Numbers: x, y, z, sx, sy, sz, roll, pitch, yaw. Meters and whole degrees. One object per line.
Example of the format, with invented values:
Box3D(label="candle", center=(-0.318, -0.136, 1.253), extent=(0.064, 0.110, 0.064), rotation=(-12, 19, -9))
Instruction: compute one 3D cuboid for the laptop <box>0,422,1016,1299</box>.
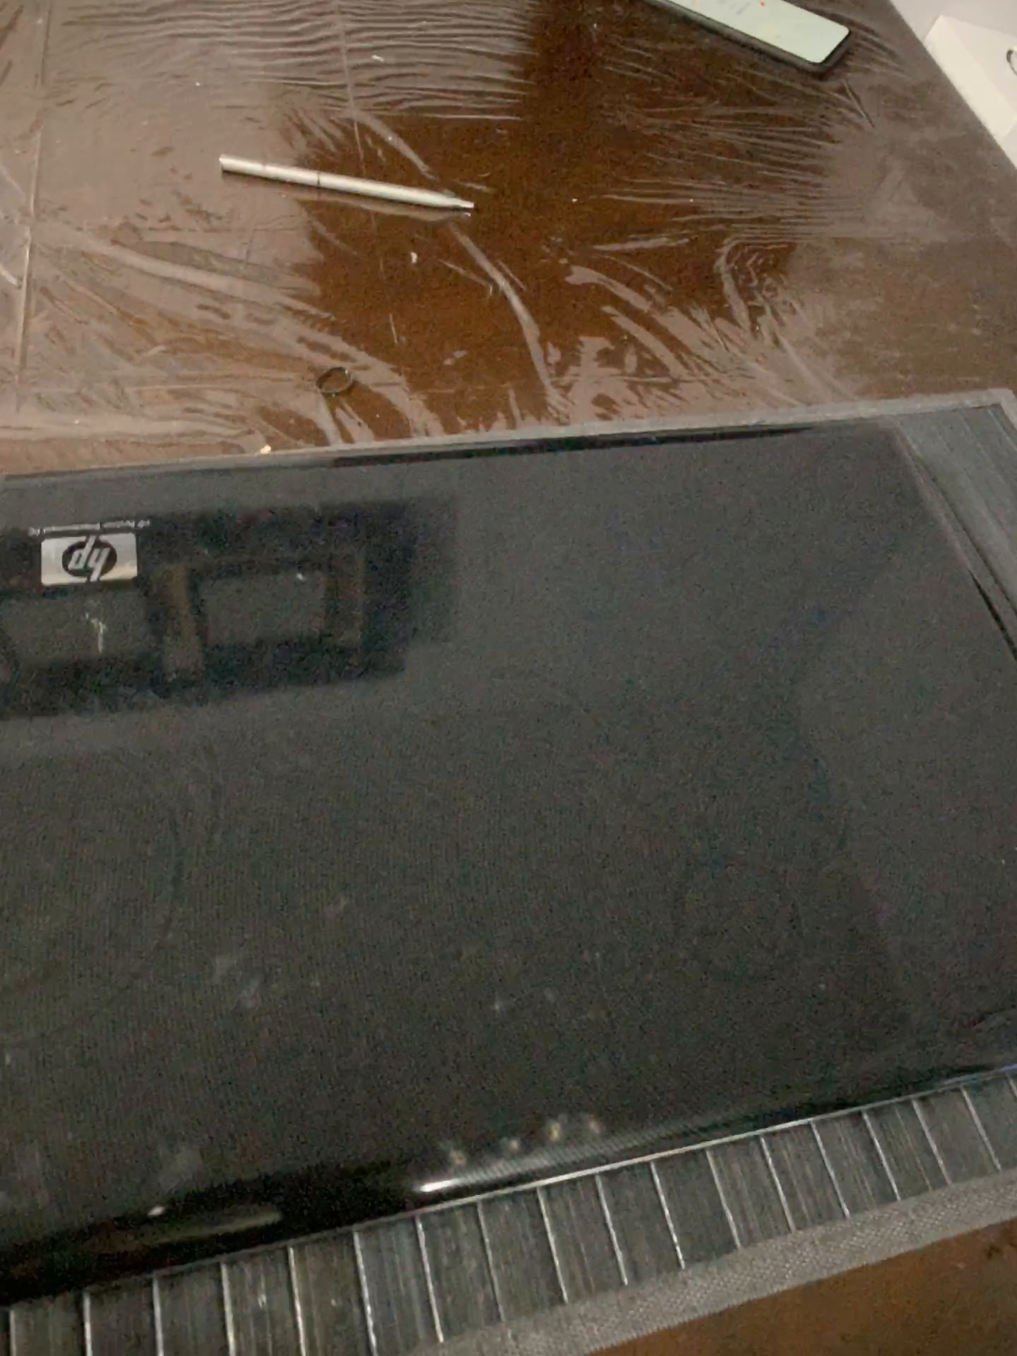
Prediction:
Box3D(label="laptop", center=(0.018, 0.015, 0.330), extent=(0.339, 0.009, 0.231), rotation=(-7, 60, -16))
